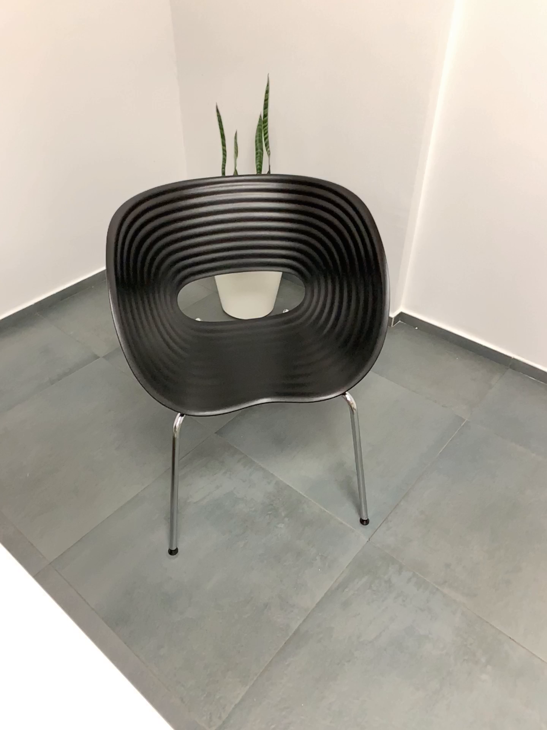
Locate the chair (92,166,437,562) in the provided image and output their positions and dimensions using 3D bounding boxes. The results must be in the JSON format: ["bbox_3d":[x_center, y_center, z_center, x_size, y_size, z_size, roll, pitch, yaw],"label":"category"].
[{"bbox_3d":[-0.062,-0.015,1.532,0.650,0.796,0.643,-6,41,-8],"label":"chair"}]
